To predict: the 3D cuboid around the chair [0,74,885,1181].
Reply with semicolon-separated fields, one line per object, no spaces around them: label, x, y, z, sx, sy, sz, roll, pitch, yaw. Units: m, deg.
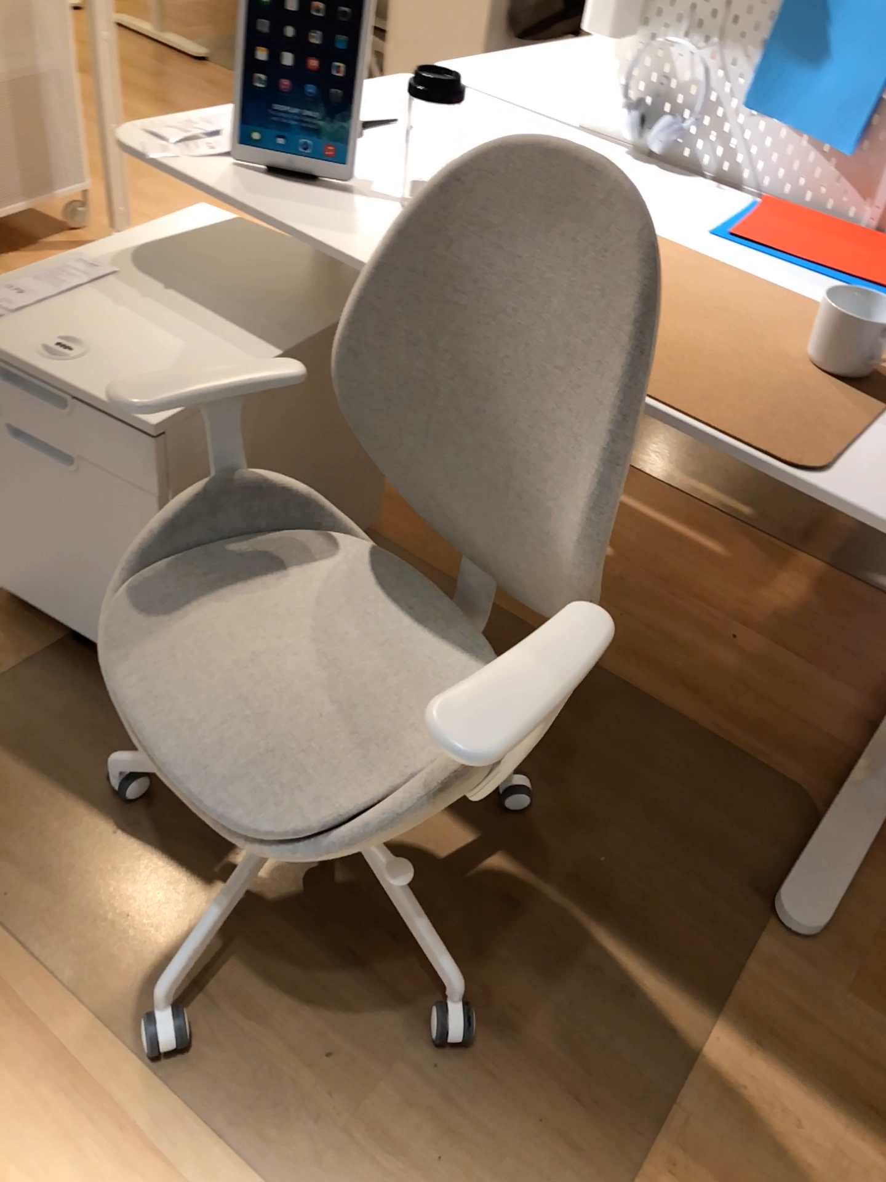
chair;-0.083;0.032;1.089;0.702;0.914;0.653;-24;52;-33
